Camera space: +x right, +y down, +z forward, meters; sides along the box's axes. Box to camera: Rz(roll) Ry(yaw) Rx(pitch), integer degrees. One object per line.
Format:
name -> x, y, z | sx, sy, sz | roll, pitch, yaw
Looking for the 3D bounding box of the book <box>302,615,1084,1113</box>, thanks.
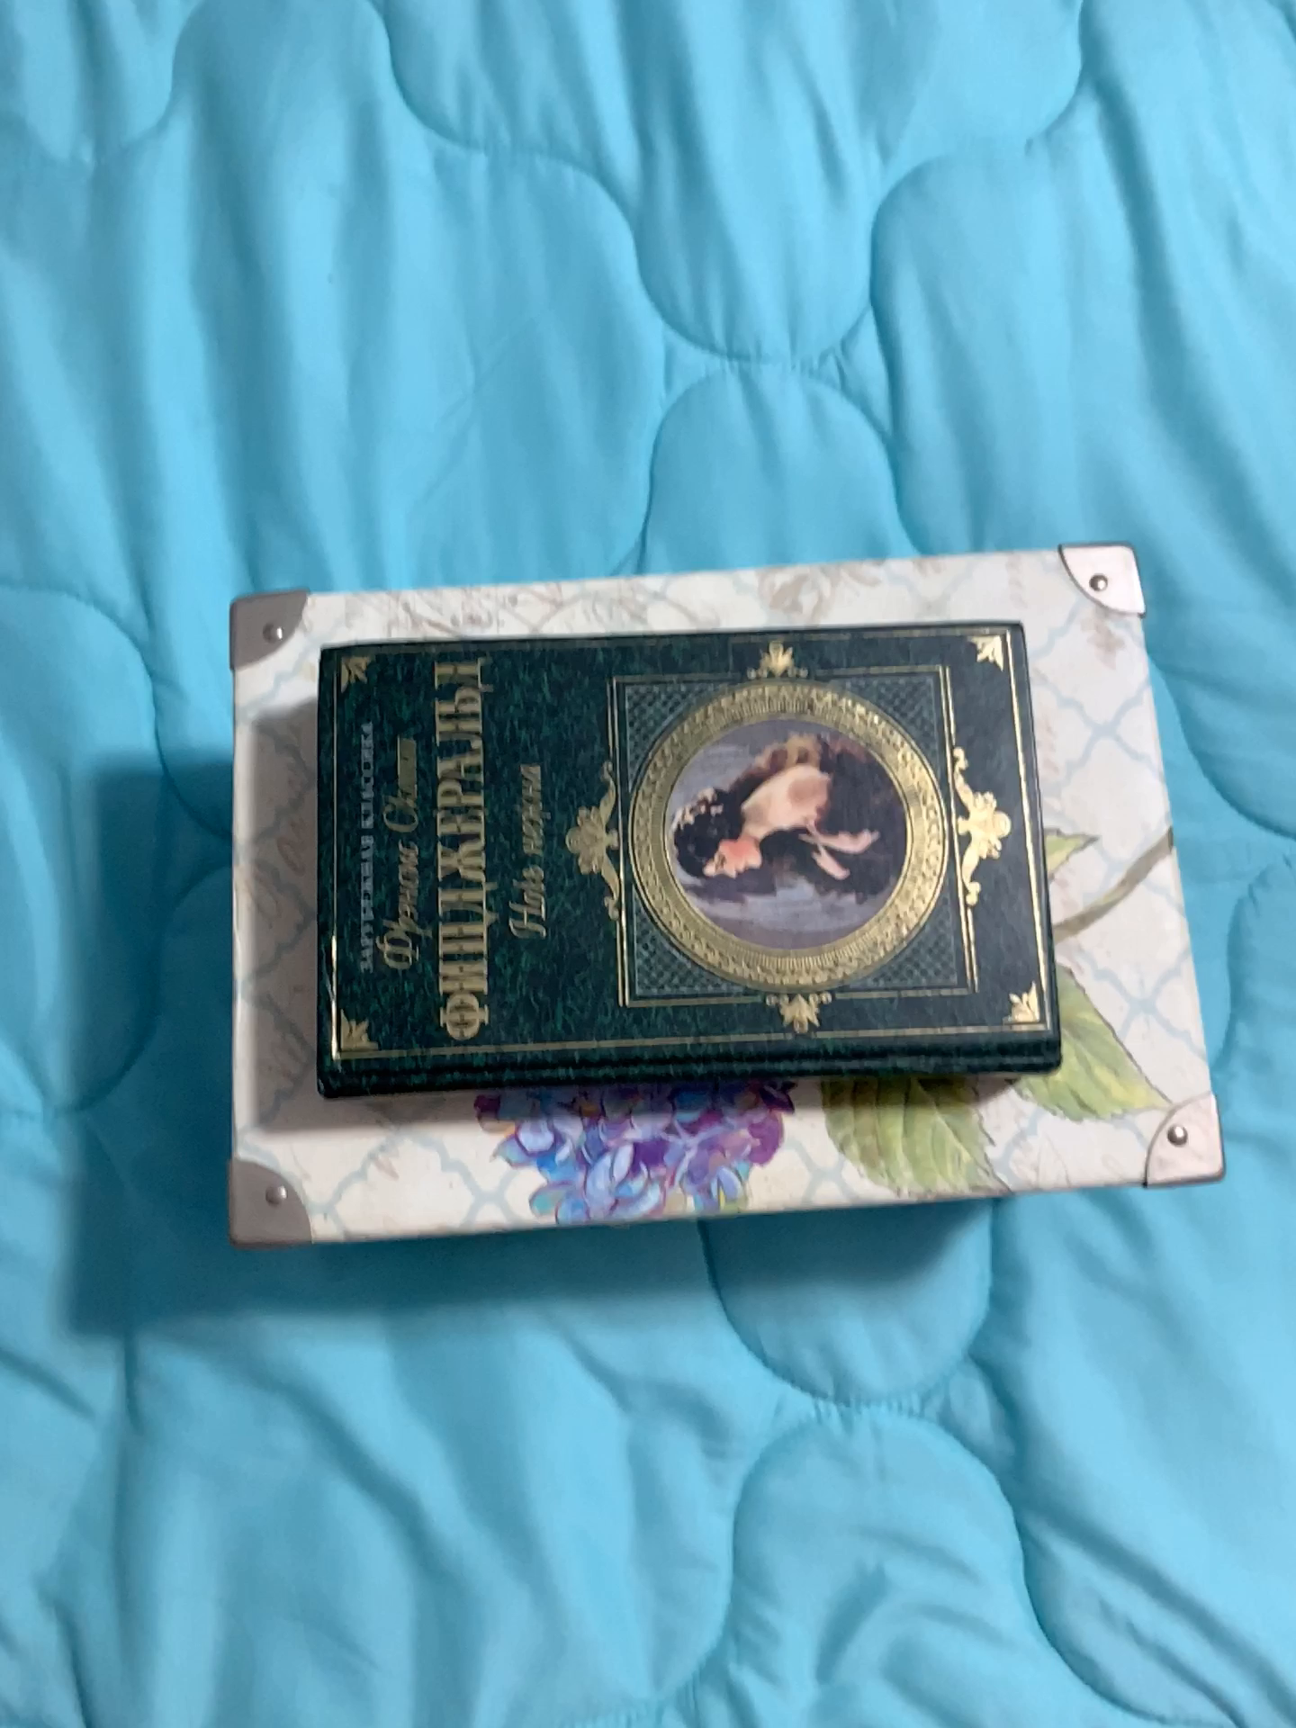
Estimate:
book -> 0.011, 0.000, 0.403 | 0.220, 0.030, 0.140 | -2, 79, -1
